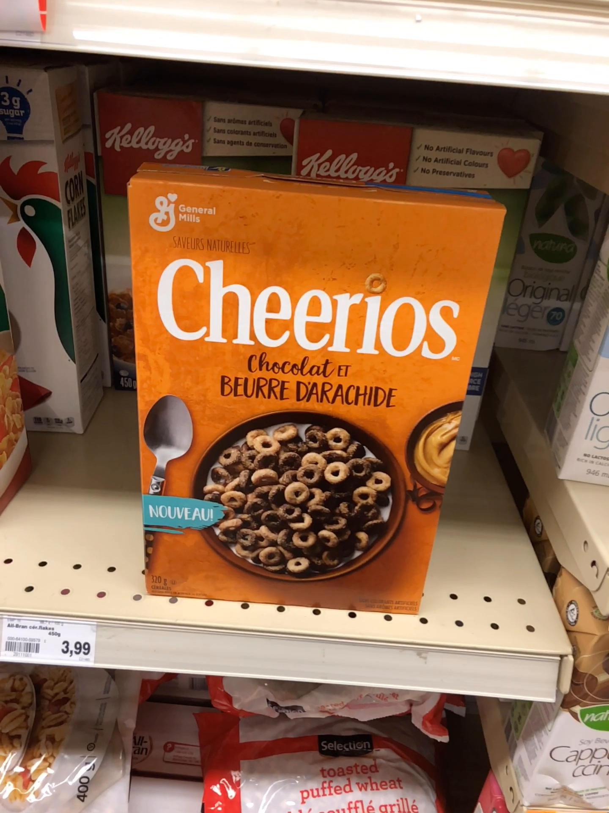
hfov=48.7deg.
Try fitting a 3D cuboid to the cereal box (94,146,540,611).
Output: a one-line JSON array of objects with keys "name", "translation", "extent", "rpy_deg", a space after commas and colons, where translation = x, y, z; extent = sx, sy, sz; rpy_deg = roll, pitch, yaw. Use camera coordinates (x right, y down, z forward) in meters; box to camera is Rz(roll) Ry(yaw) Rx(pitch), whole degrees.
[{"name": "cereal box", "translation": [-0.003, -0.001, 0.404], "extent": [0.210, 0.268, 0.050], "rpy_deg": [5, 30, 0]}]
